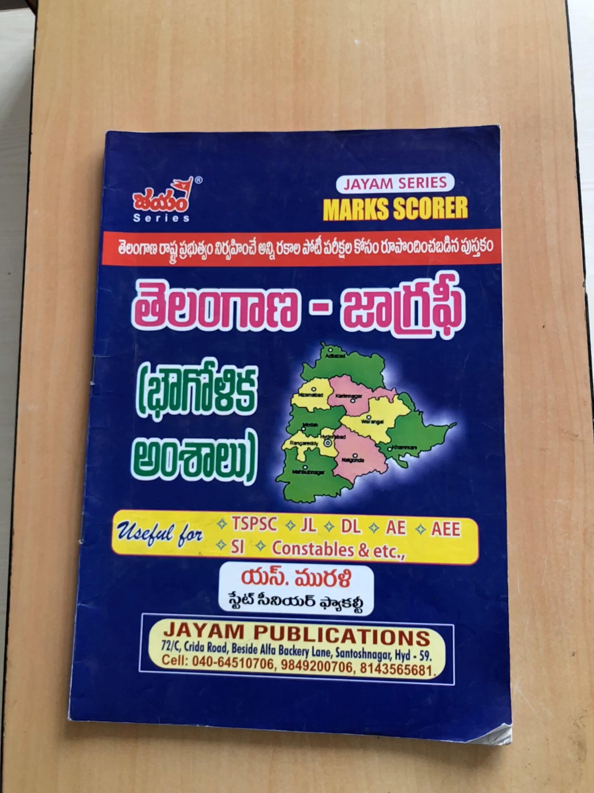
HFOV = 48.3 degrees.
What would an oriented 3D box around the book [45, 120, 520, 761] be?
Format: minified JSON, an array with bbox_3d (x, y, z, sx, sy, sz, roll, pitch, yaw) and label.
[{"bbox_3d":[-0.003,0.010,0.317,0.200,0.040,0.280,1,82,4],"label":"book"}]
